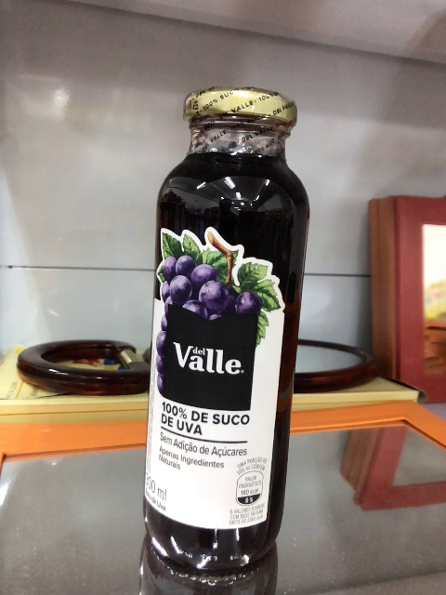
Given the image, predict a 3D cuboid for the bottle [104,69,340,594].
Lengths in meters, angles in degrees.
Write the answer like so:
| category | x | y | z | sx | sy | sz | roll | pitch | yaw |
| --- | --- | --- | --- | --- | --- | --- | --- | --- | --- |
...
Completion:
| category | x | y | z | sx | sy | sz | roll | pitch | yaw |
| --- | --- | --- | --- | --- | --- | --- | --- | --- | --- |
| bottle | 0.000 | 0.016 | 0.204 | 0.070 | 0.189 | 0.060 | 6 | 9 | 10 |
